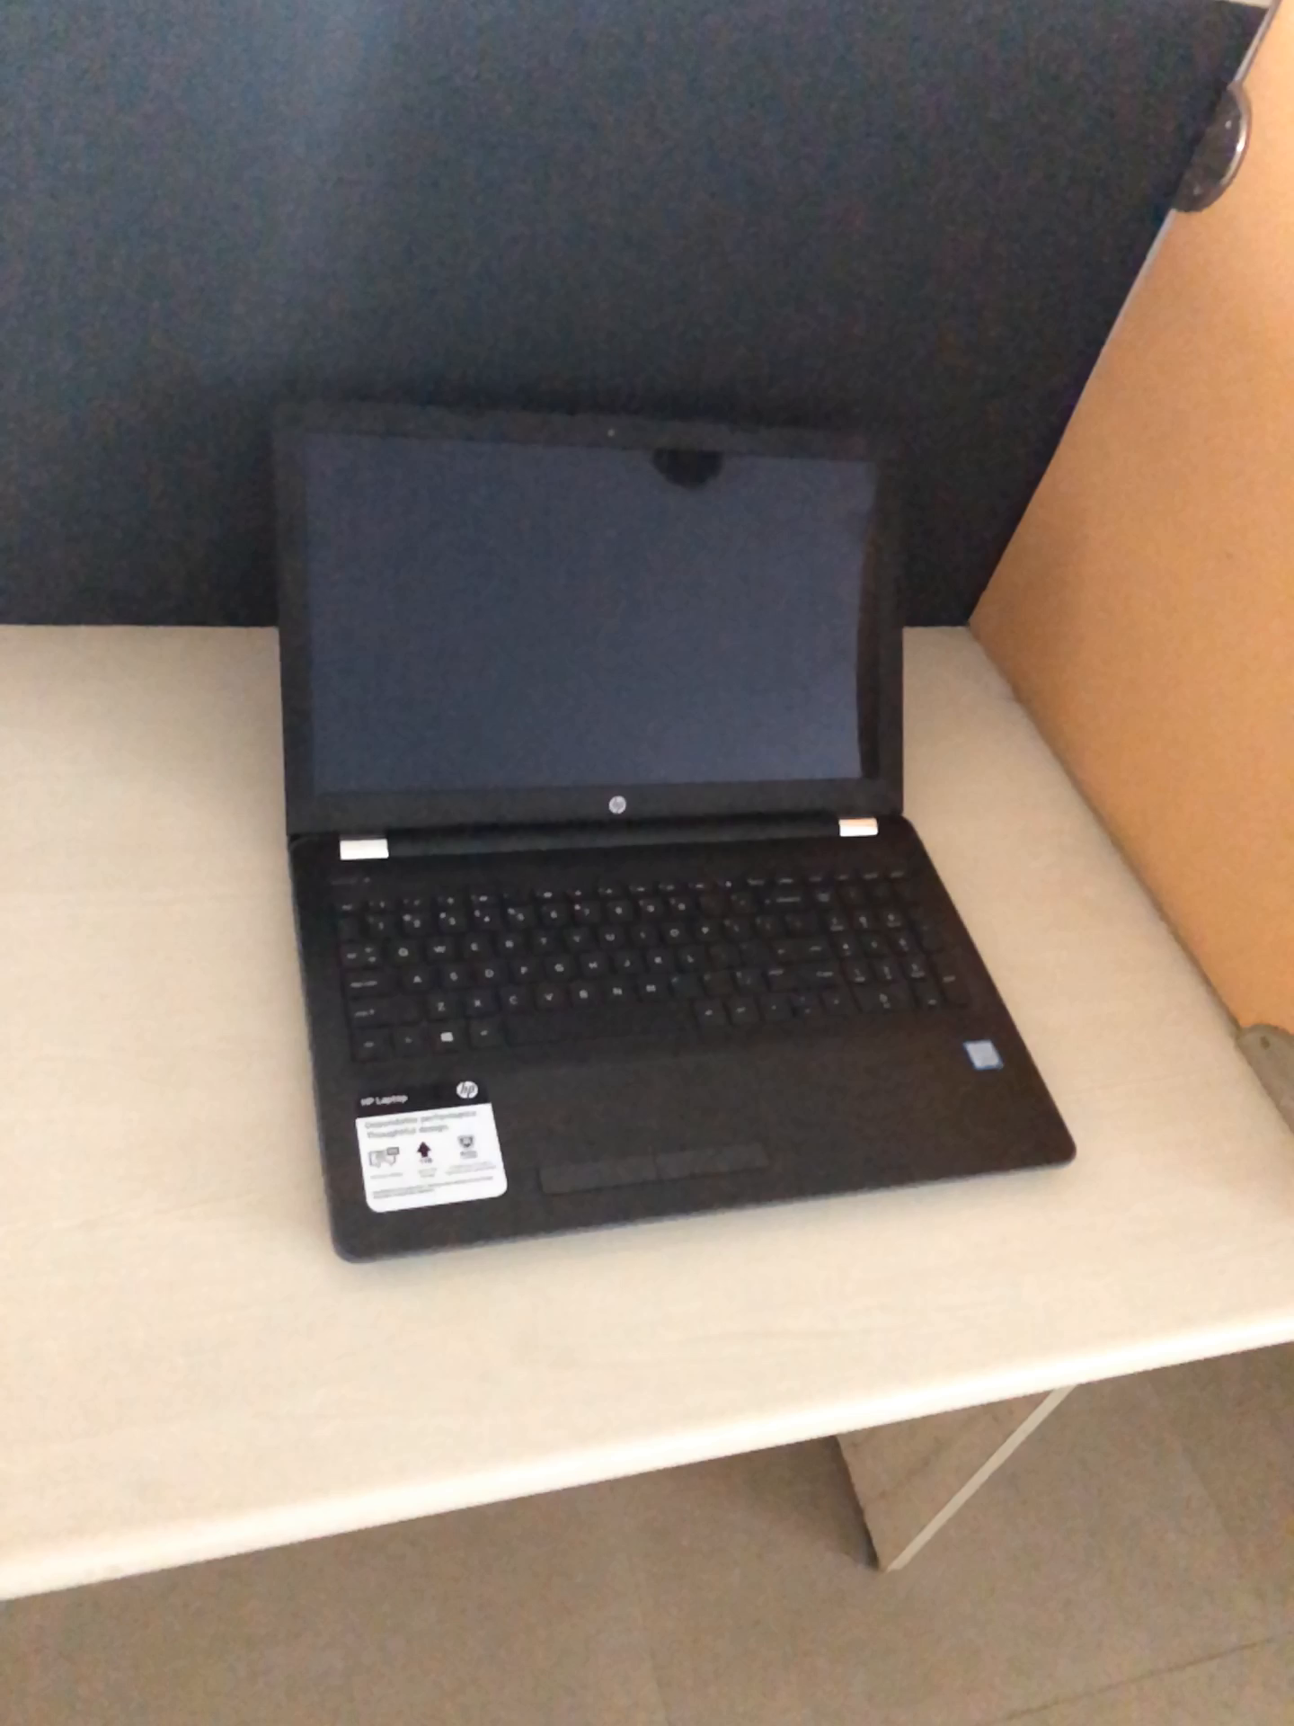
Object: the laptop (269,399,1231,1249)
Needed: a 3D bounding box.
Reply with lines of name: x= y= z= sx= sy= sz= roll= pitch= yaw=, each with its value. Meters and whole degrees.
laptop: x=0.012 y=-0.048 z=0.757 sx=0.378 sy=0.173 sz=0.410 roll=-3 pitch=48 yaw=-19
